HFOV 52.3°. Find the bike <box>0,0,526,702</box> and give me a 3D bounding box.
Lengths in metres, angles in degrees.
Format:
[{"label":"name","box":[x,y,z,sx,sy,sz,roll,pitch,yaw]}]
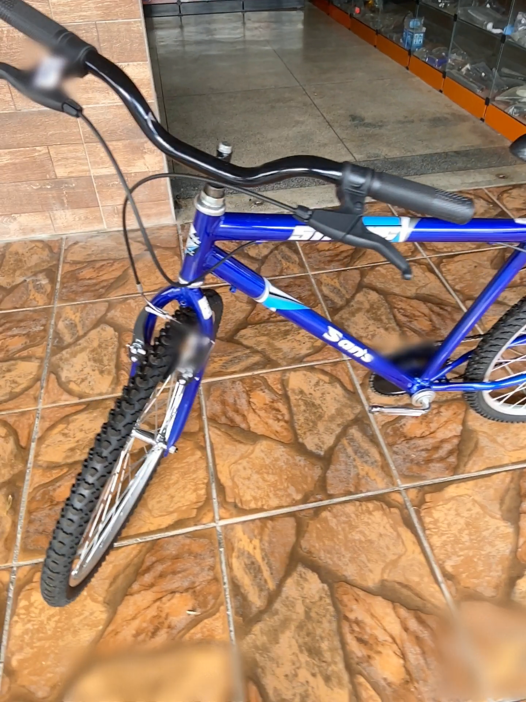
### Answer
[{"label":"bike","box":[0.379,0.081,0.886,1.526,1.012,0.574,-19,44,-14]}]
